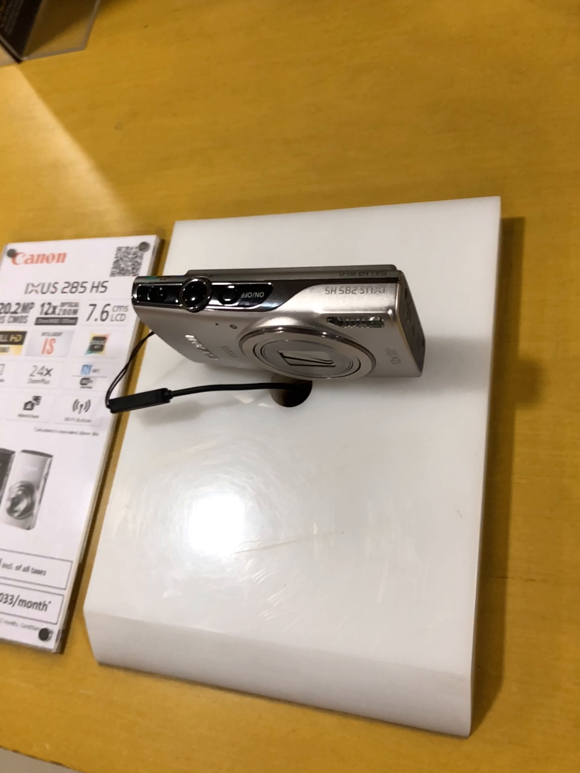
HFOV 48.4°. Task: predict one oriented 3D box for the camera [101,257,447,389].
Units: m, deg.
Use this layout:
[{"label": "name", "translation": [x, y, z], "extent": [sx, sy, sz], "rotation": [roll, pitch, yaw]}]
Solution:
[{"label": "camera", "translation": [-0.003, -0.021, 0.234], "extent": [0.110, 0.060, 0.020], "rotation": [2, 71, 21]}]
